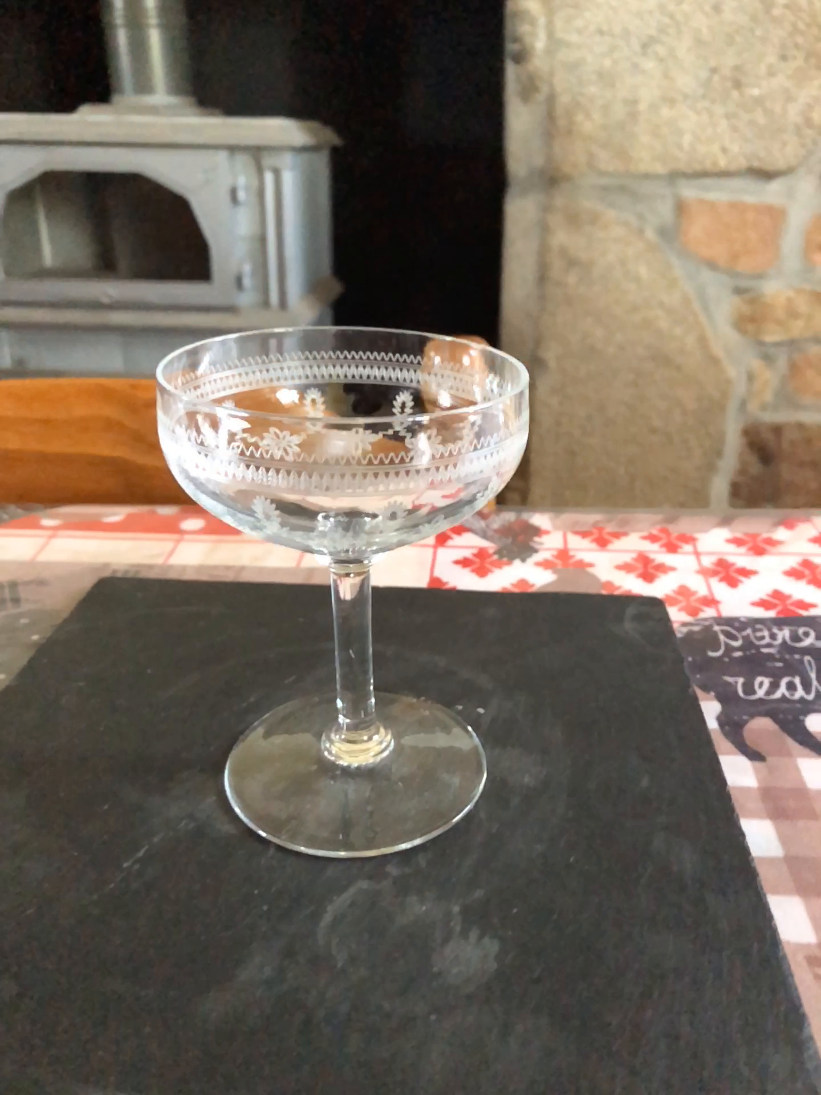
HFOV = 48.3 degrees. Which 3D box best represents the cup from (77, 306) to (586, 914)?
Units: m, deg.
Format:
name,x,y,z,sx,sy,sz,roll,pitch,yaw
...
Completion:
name,x,y,z,sx,sy,sz,roll,pitch,yaw
cup,-0.013,0.007,0.245,0.090,0.119,0.091,0,24,0
